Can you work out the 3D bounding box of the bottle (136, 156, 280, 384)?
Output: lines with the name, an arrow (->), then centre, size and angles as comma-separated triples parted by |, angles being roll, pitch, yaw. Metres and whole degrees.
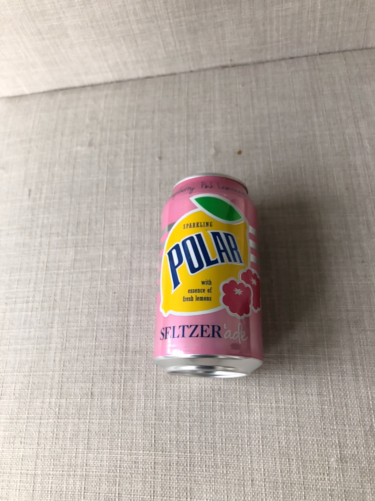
bottle -> 0.014, 0.016, 0.257 | 0.070, 0.065, 0.122 | -3, 69, 8
